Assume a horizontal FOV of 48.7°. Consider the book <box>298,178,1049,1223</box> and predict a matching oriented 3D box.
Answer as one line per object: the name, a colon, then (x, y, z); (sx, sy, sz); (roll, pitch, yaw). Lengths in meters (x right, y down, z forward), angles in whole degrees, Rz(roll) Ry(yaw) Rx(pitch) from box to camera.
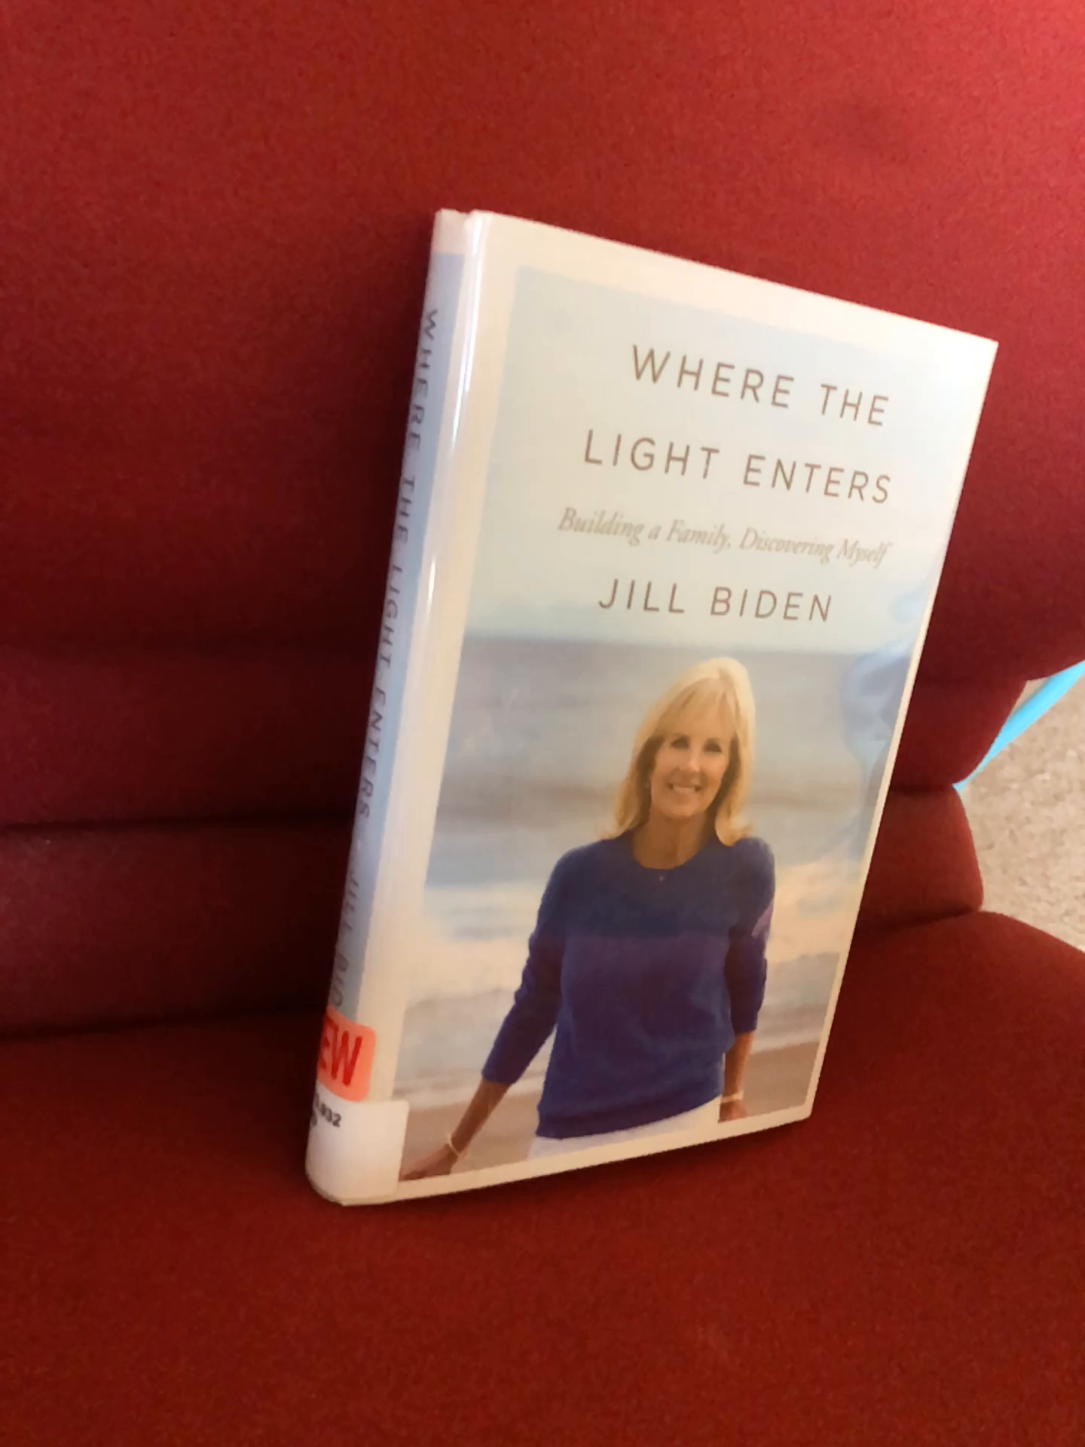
book: (0.032, 0.003, 0.283); (0.150, 0.210, 0.030); (1, 16, -31)
